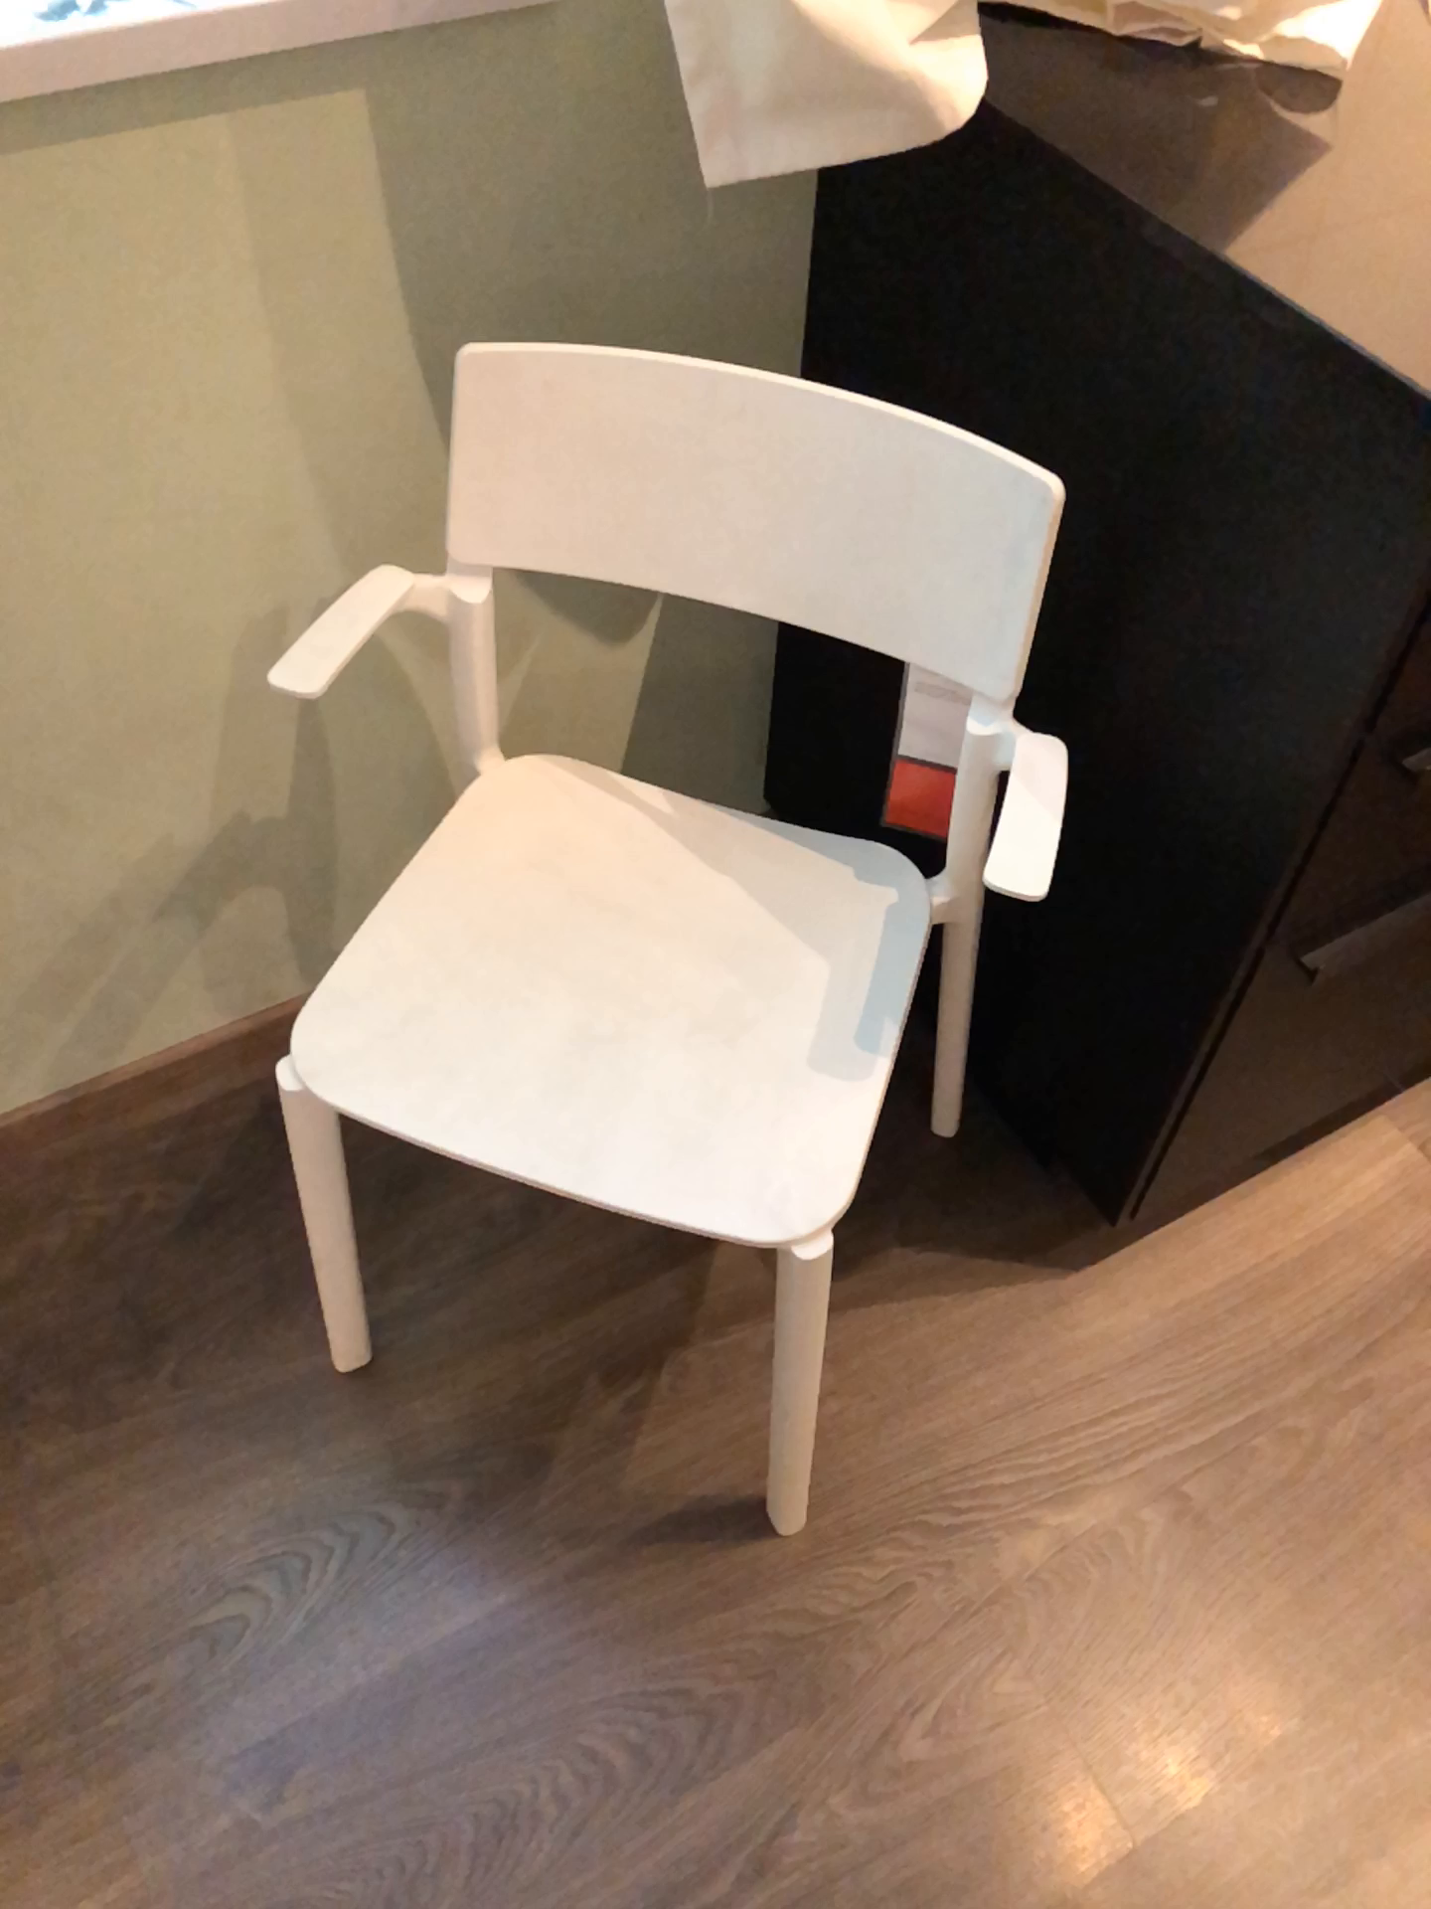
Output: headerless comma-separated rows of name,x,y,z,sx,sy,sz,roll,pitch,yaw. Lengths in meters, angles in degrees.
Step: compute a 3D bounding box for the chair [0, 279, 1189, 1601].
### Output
chair,-0.043,0.012,1.254,0.560,0.756,0.583,16,52,11
